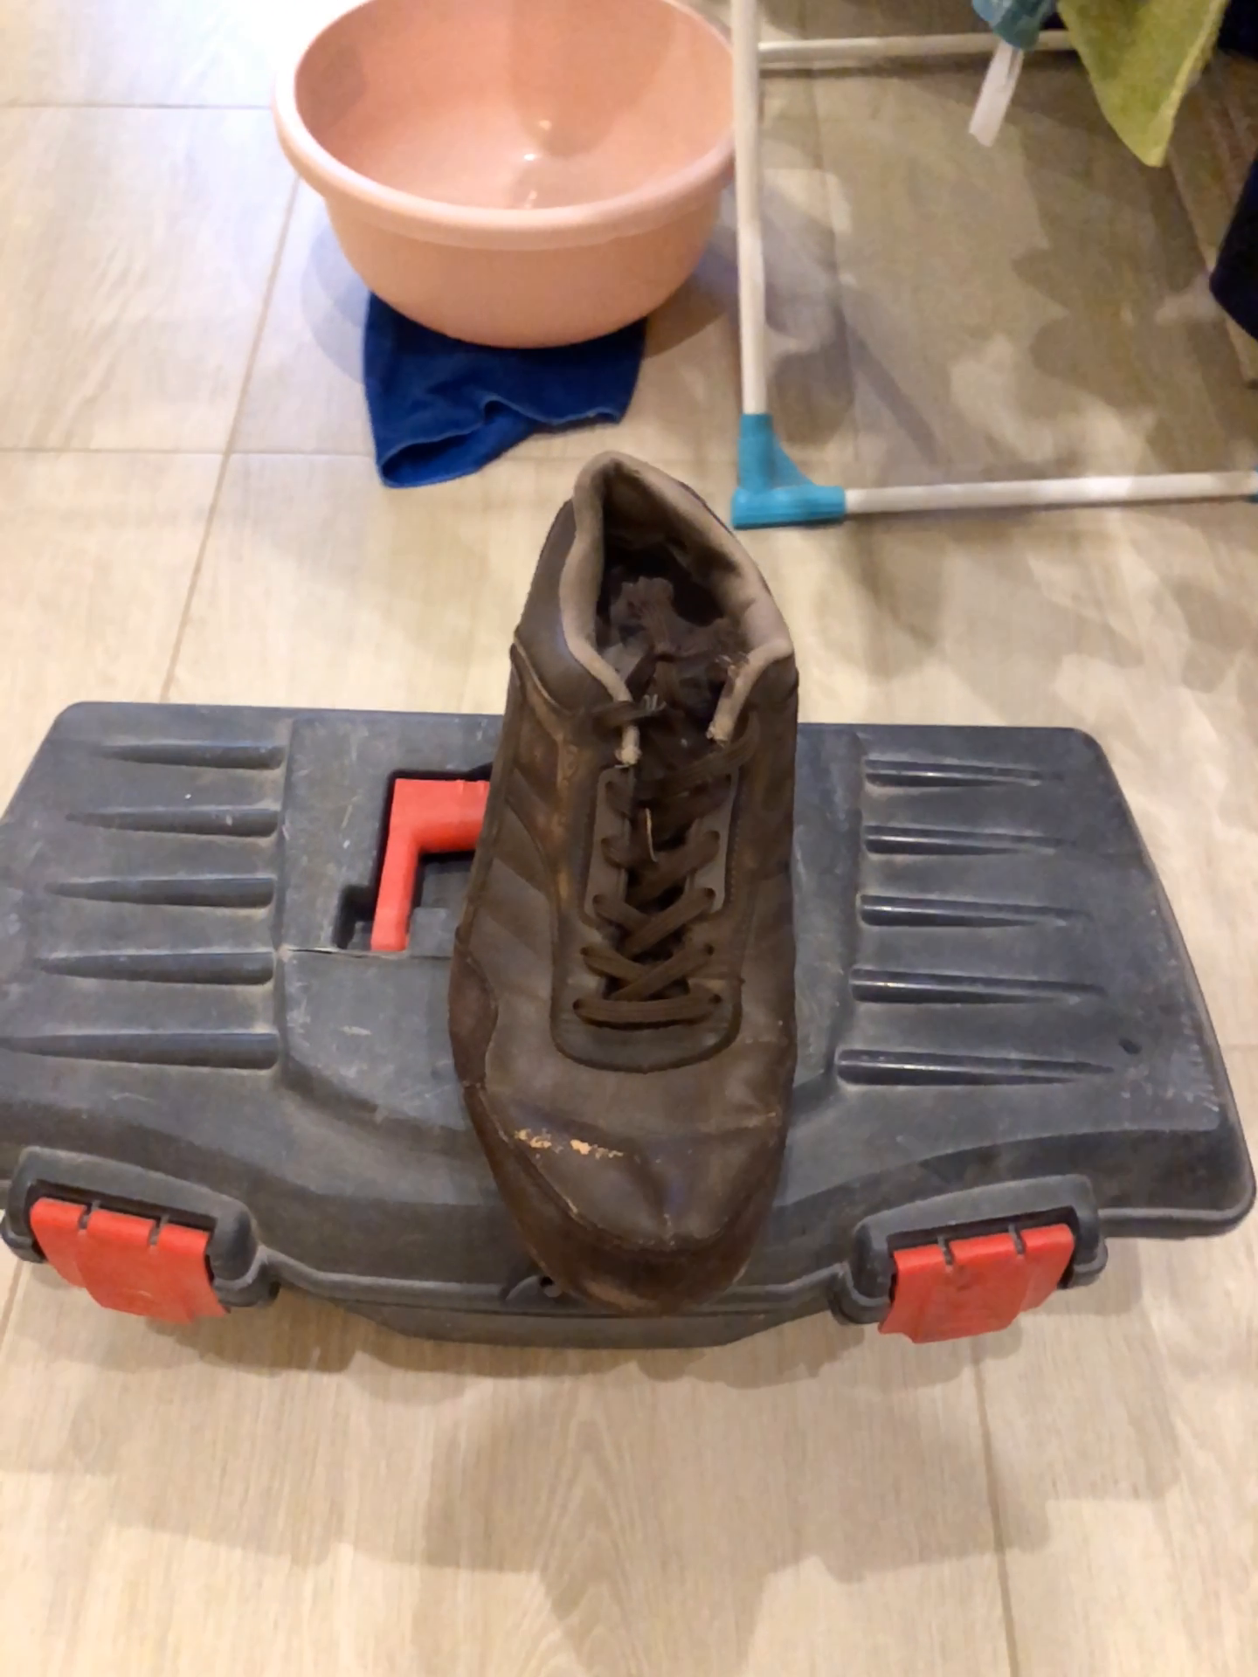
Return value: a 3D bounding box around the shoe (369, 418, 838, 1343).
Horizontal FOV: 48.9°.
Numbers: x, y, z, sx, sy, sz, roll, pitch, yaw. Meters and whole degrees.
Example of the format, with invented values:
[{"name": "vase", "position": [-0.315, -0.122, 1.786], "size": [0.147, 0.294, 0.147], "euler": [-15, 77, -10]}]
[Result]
[{"name": "shoe", "position": [0.002, 0.000, 0.444], "size": [0.110, 0.099, 0.282], "euler": [3, 56, 2]}]
